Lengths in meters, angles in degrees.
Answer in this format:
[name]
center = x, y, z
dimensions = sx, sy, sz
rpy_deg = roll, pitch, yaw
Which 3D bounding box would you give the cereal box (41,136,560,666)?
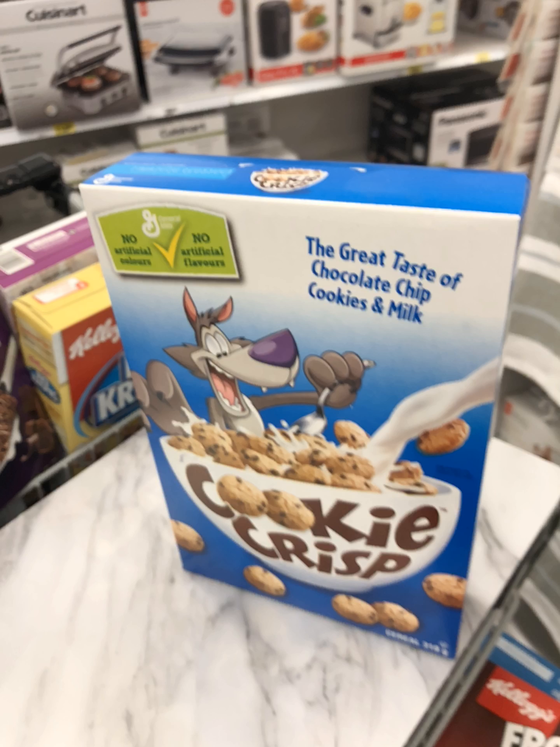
[cereal box]
center = 0.011, 0.023, 0.333
dimensions = 0.210, 0.269, 0.050
rpy_deg = 10, 37, 21
